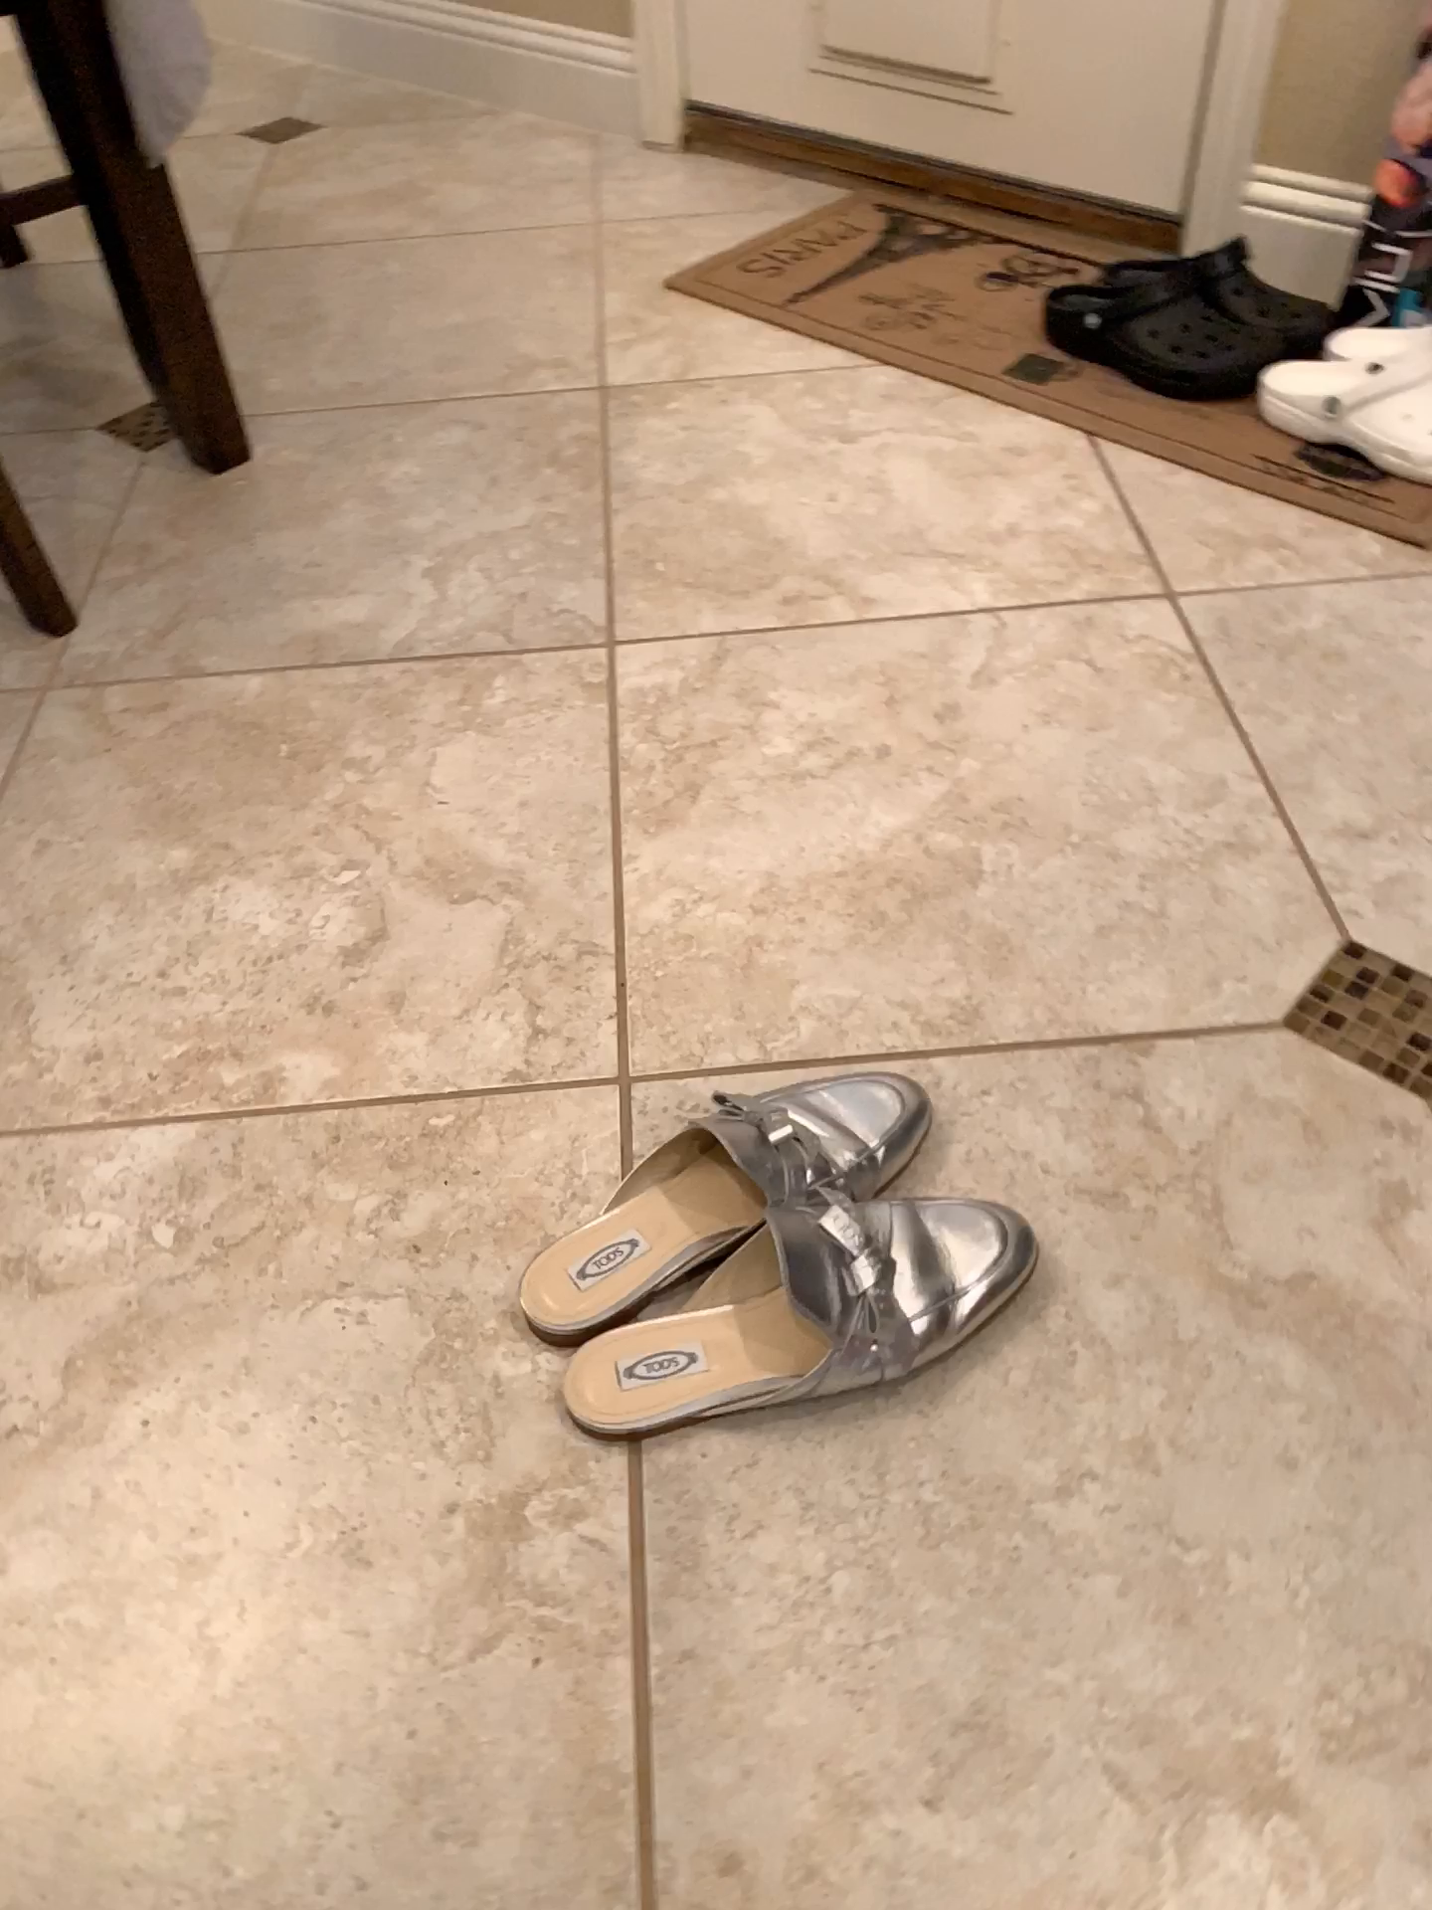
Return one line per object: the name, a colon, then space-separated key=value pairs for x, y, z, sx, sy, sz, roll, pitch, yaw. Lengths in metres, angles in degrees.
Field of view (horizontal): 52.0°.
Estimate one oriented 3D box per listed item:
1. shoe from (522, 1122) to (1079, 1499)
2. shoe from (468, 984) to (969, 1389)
shoe: x=0.045 y=0.191 z=0.806 sx=0.277 sy=0.077 sz=0.102 roll=-15 pitch=47 yaw=-11
shoe: x=0.007 y=0.129 z=0.862 sx=0.280 sy=0.077 sz=0.092 roll=-26 pitch=50 yaw=-20
